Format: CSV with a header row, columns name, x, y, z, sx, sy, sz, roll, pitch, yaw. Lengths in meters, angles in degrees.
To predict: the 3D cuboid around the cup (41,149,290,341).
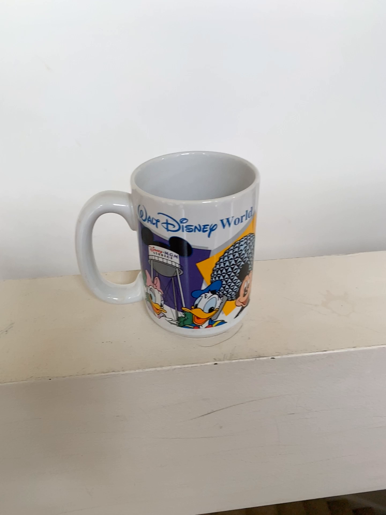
name,x,y,z,sx,sy,sz,roll,pitch,yaw
cup,-0.014,-0.010,0.287,0.140,0.109,0.080,-1,33,1
